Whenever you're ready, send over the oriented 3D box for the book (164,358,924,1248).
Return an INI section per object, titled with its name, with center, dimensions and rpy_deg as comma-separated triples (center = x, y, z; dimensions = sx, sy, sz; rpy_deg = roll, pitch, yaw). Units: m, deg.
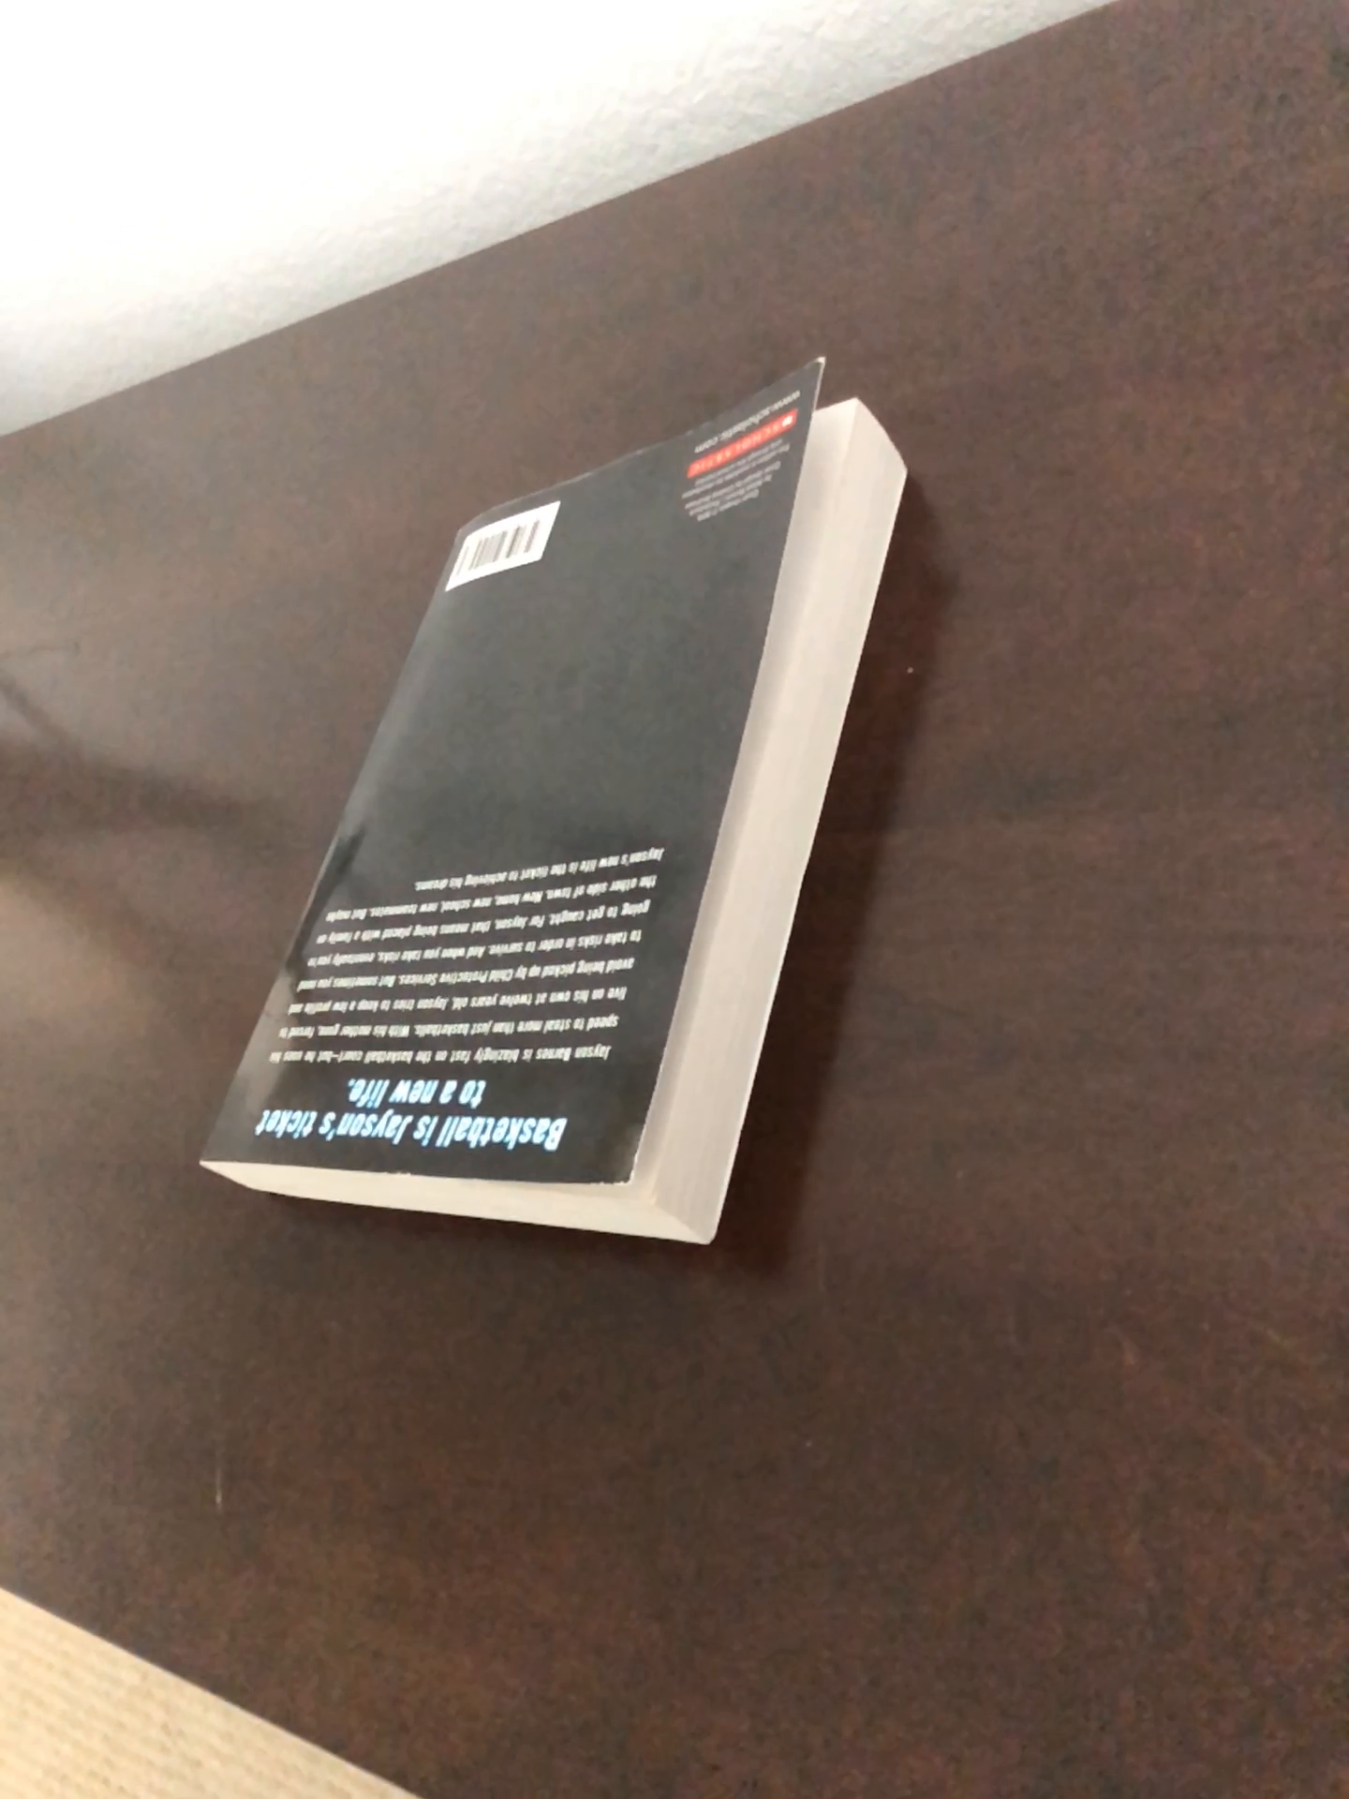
[book]
center = -0.029, -0.023, 0.357
dimensions = 0.140, 0.036, 0.198
rpy_deg = -7, 56, 40
